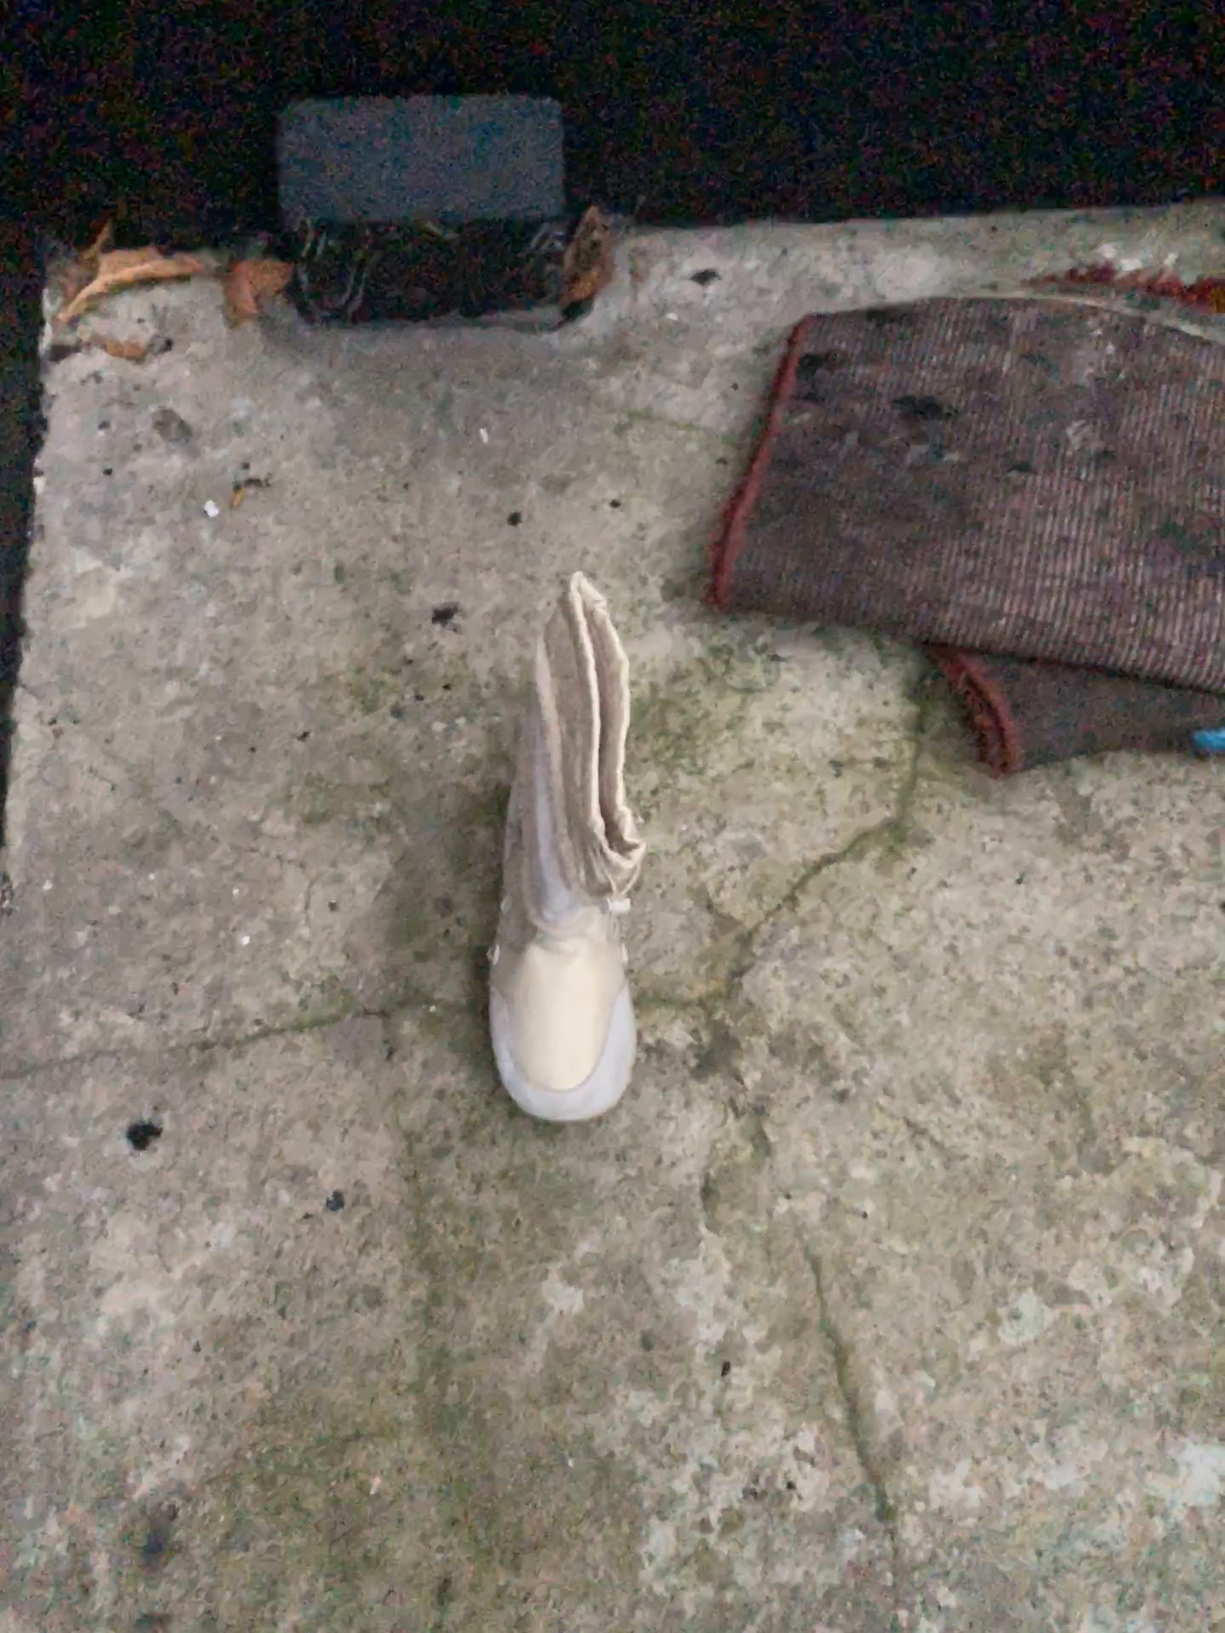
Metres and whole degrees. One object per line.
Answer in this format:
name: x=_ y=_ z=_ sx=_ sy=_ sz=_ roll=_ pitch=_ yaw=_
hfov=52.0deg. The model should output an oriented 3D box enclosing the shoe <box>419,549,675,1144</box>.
shoe: x=-0.041 y=0.039 z=0.768 sx=0.110 sy=0.299 sz=0.271 roll=-4 pitch=68 yaw=-3
